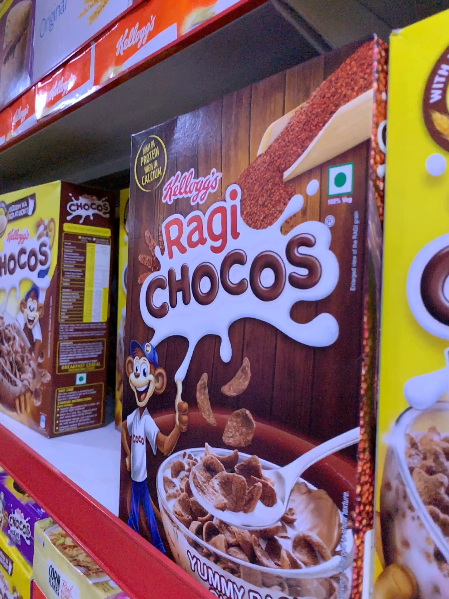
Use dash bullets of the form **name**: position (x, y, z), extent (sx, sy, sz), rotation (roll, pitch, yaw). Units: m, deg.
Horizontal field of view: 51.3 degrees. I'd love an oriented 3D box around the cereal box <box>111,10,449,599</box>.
- **cereal box**: position (0.011, 0.023, 0.242), extent (0.060, 0.240, 0.180), rotation (1, 1, -39)
